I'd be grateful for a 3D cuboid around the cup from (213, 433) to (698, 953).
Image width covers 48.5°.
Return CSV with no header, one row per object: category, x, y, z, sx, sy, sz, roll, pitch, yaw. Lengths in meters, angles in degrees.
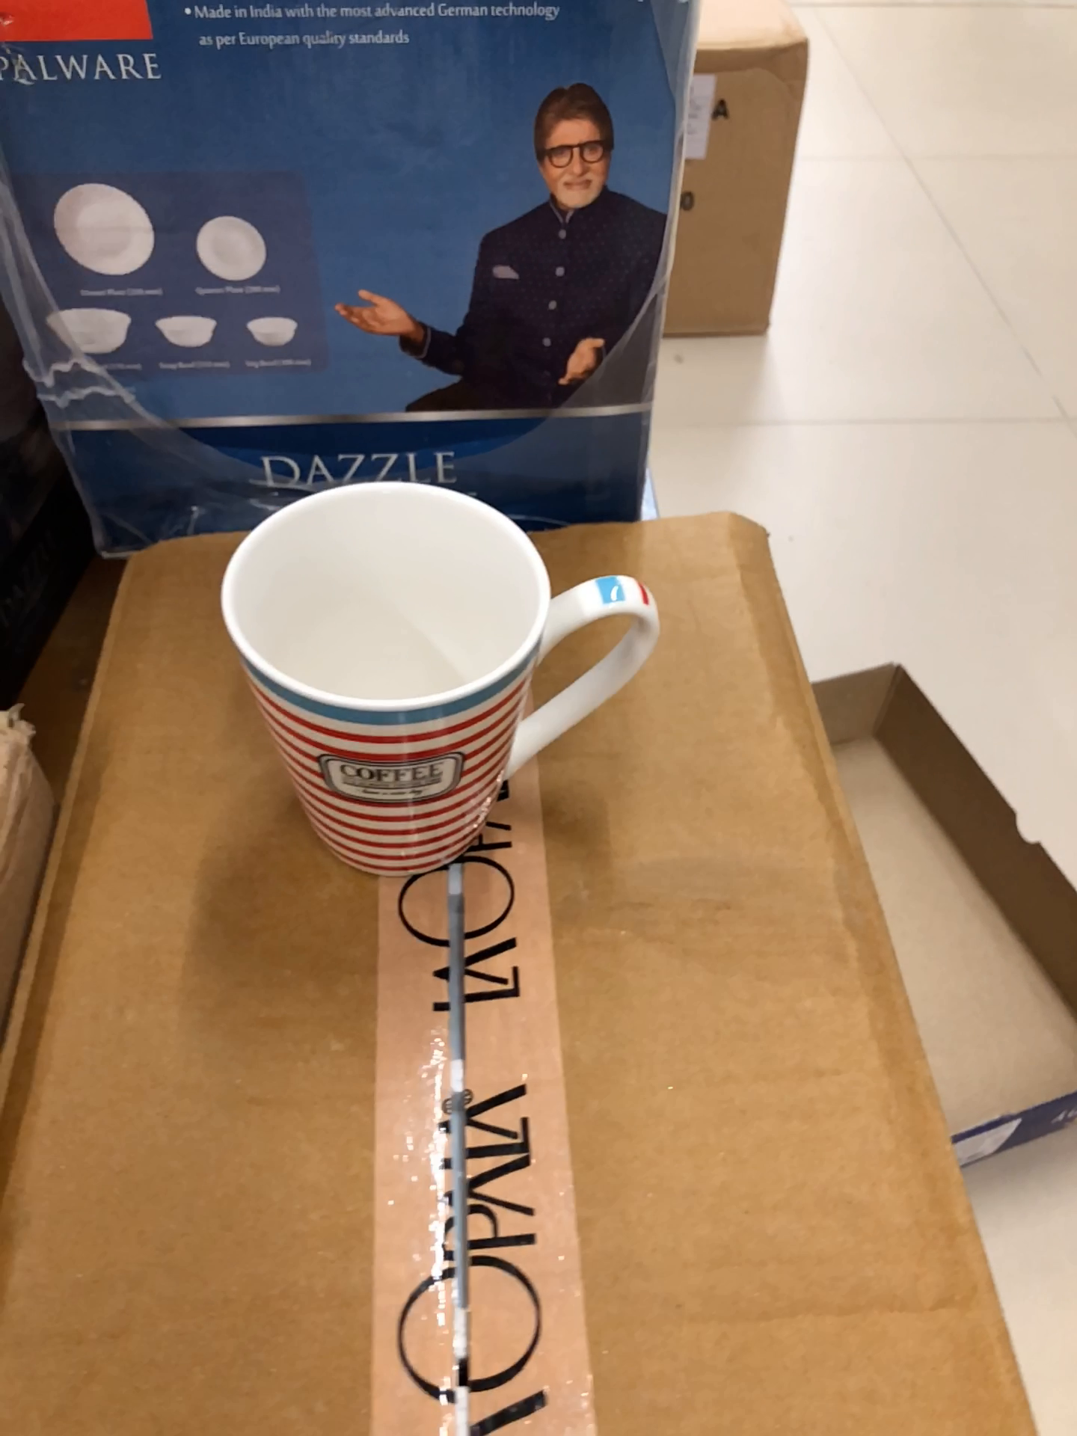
cup,-0.026,-0.008,0.350,0.110,0.099,0.090,-11,48,-11
